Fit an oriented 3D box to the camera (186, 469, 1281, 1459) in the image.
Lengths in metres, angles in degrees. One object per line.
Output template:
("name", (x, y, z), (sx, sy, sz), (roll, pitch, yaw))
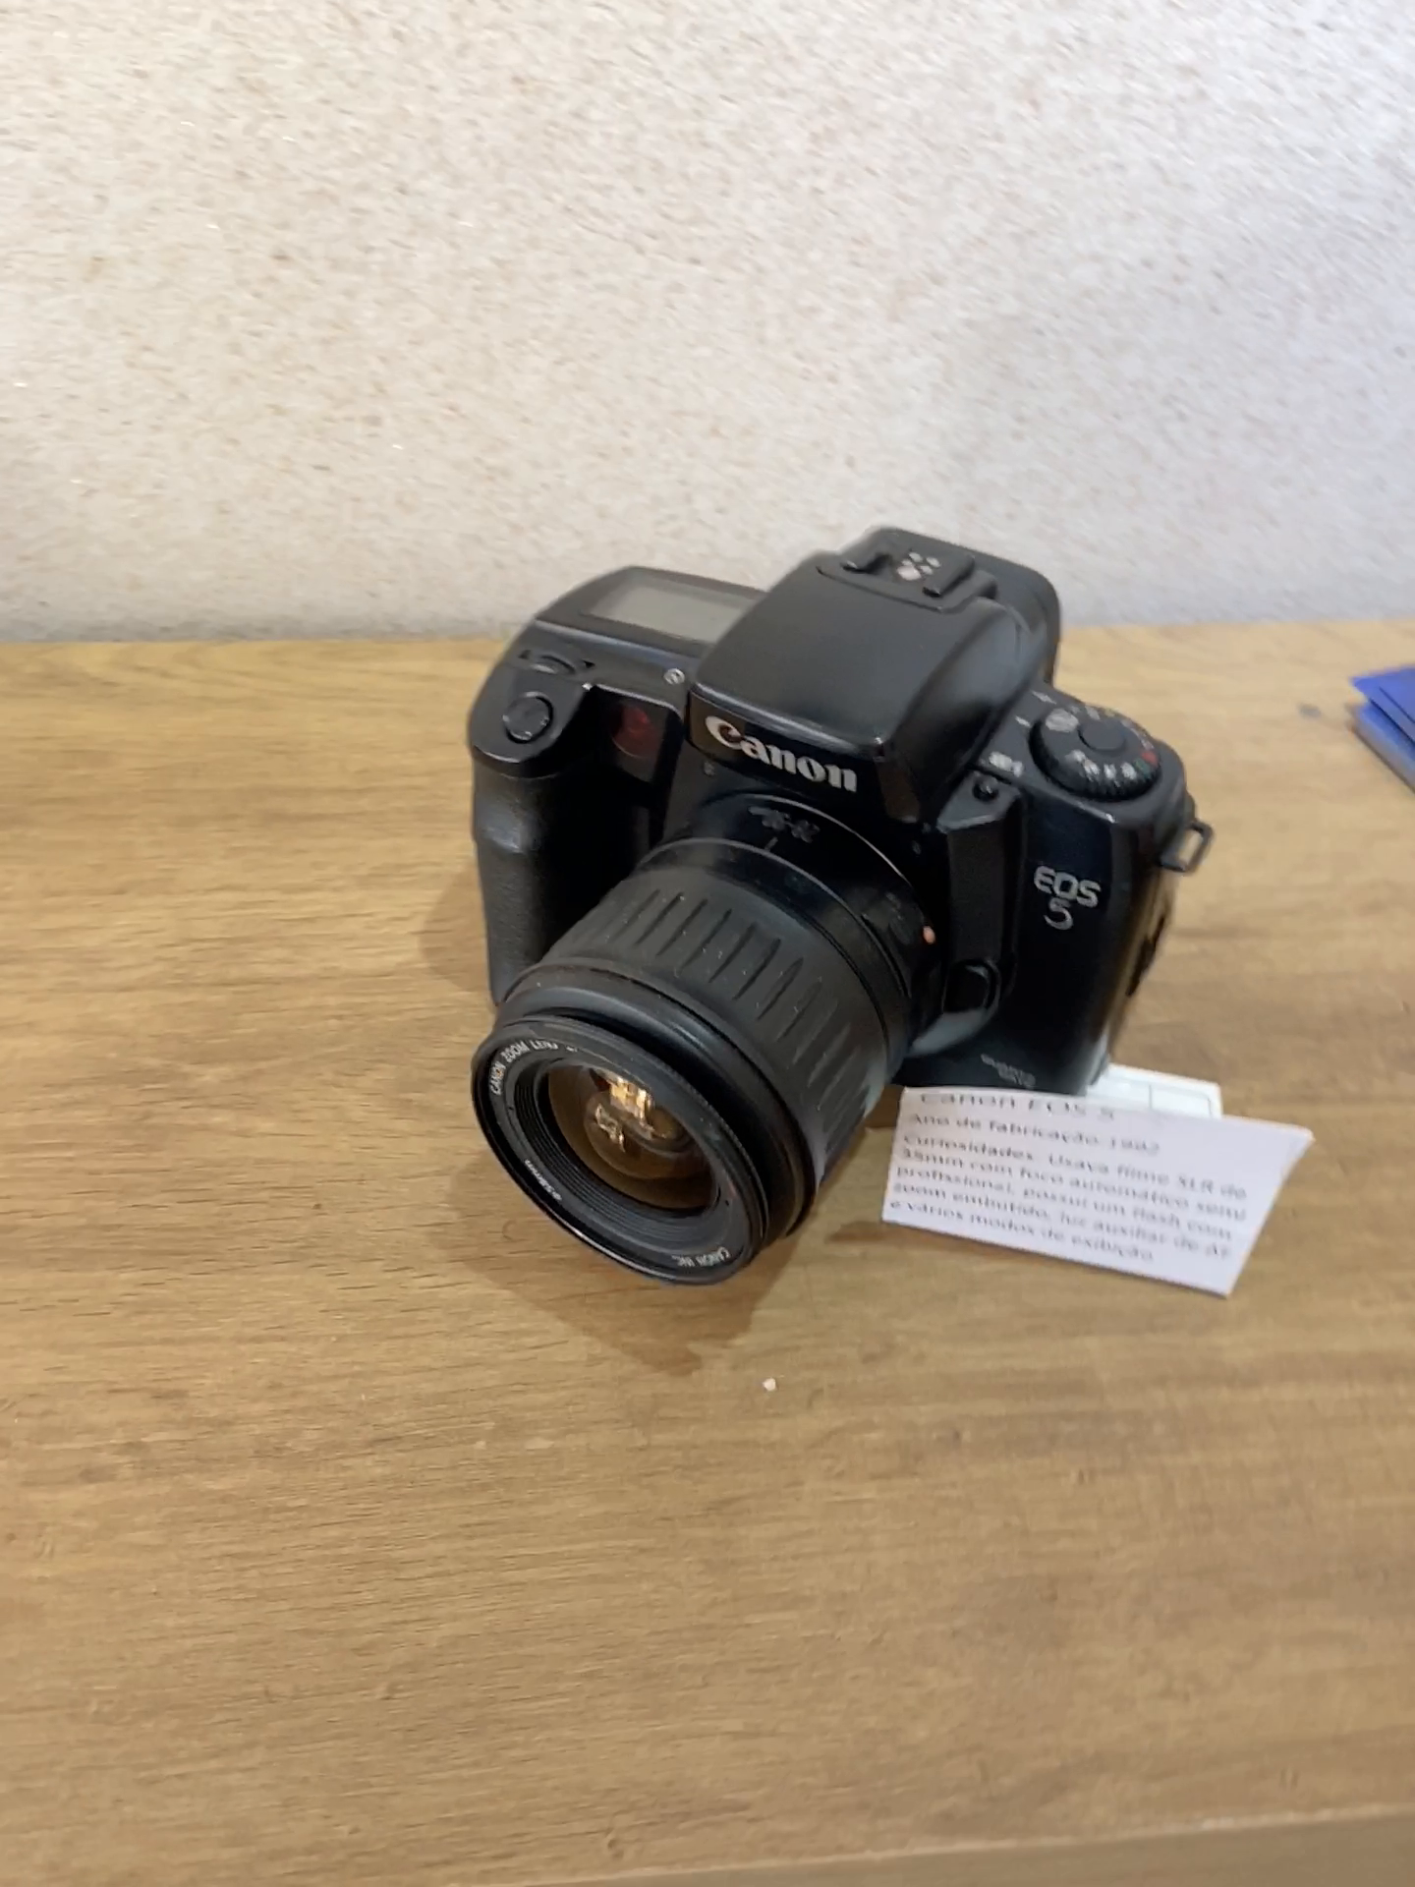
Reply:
("camera", (0.017, -0.015, 0.326), (0.160, 0.080, 0.181), (19, 46, 19))
